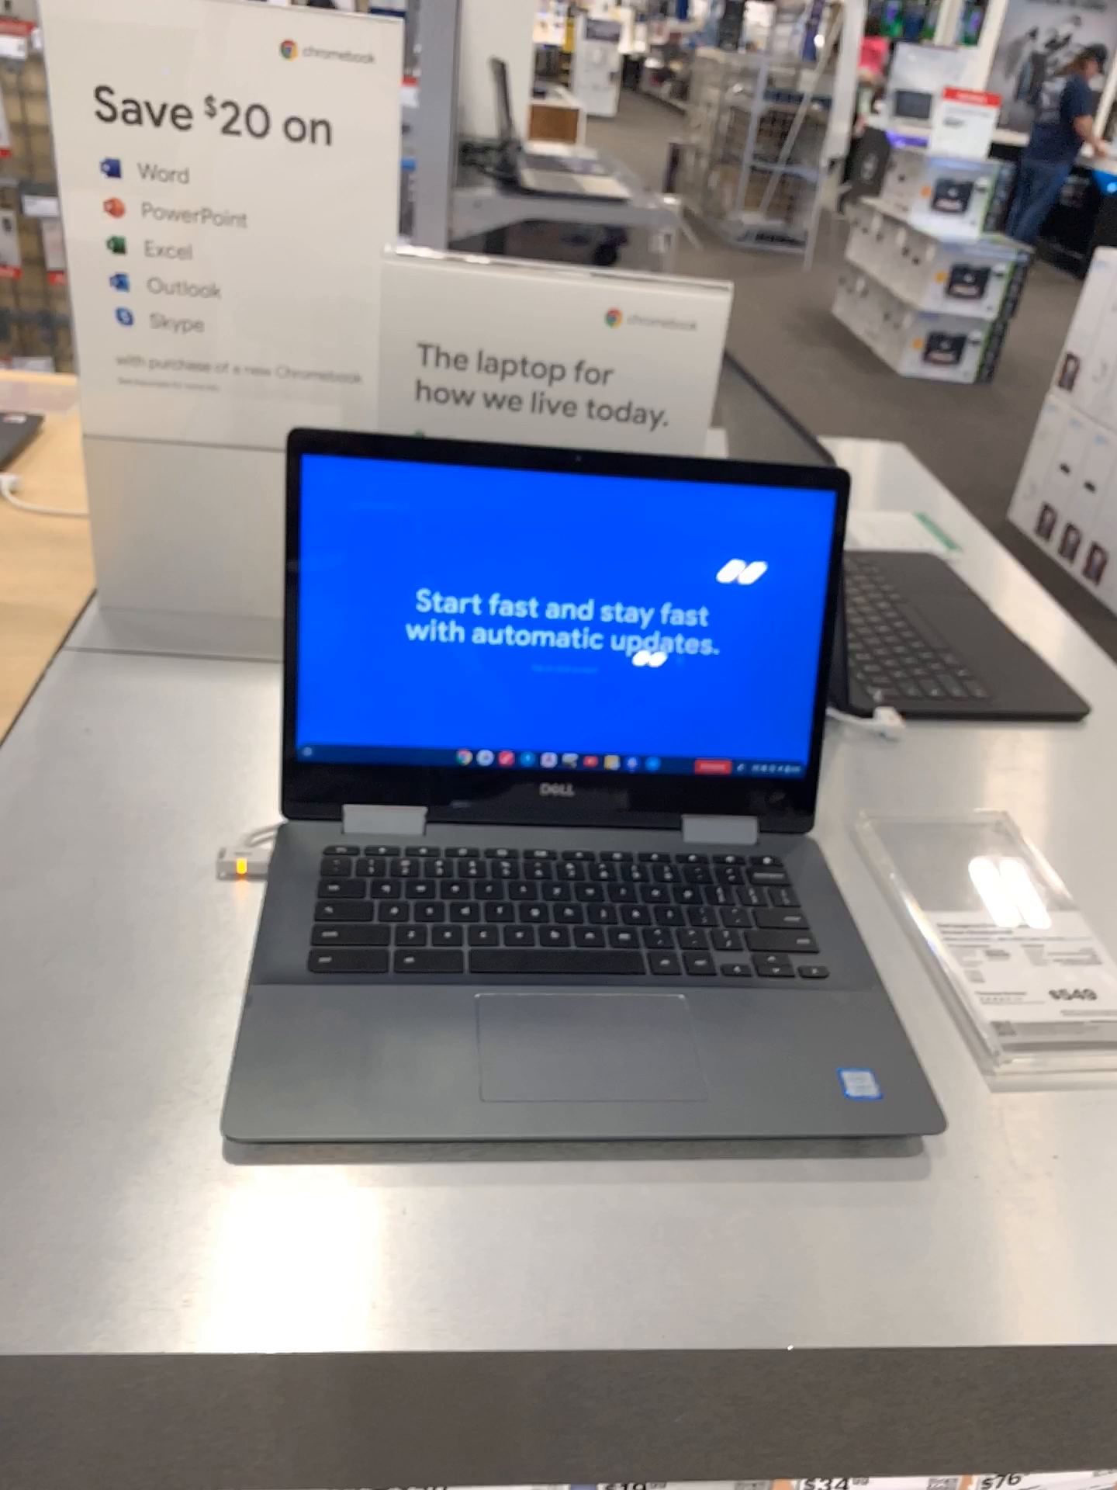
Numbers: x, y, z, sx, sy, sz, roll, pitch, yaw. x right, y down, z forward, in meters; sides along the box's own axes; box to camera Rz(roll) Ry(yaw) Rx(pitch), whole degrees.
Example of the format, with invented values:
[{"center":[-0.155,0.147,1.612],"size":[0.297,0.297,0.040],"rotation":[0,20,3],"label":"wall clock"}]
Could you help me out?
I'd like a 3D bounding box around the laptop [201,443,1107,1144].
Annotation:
[{"center":[0.017,0.003,0.564],"size":[0.309,0.202,0.294],"rotation":[2,31,-7],"label":"laptop"}]
